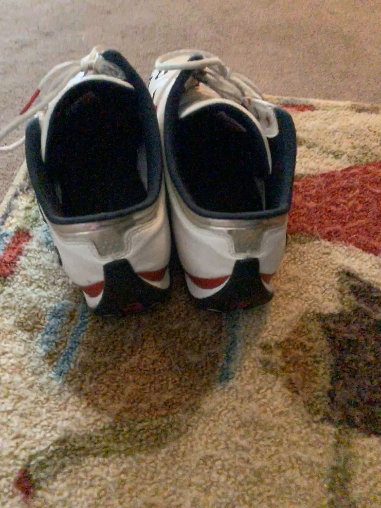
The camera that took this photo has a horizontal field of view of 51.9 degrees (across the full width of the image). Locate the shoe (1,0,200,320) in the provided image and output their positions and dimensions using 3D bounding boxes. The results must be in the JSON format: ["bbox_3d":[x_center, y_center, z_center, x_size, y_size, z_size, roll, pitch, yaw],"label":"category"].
[{"bbox_3d":[-0.069,-0.105,0.325,0.100,0.099,0.292,-5,54,-8],"label":"shoe"}]

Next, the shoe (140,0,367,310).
[{"bbox_3d":[0.021,-0.109,0.325,0.100,0.089,0.292,-5,54,-8],"label":"shoe"}]
